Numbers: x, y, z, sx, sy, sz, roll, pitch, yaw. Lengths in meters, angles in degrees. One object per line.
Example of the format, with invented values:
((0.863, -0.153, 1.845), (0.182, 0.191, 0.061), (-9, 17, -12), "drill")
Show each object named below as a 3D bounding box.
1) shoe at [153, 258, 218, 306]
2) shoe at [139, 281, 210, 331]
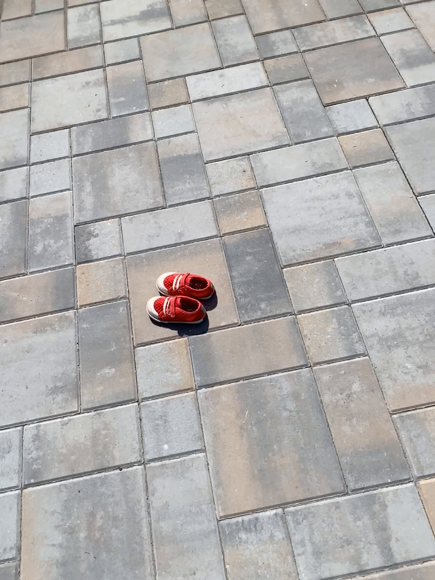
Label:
((-0.088, -0.021, 1.260), (0.160, 0.100, 0.070), (11, 64, 11), "shoe")
((-0.115, 0.046, 1.243), (0.170, 0.100, 0.090), (5, 63, 8), "shoe")
